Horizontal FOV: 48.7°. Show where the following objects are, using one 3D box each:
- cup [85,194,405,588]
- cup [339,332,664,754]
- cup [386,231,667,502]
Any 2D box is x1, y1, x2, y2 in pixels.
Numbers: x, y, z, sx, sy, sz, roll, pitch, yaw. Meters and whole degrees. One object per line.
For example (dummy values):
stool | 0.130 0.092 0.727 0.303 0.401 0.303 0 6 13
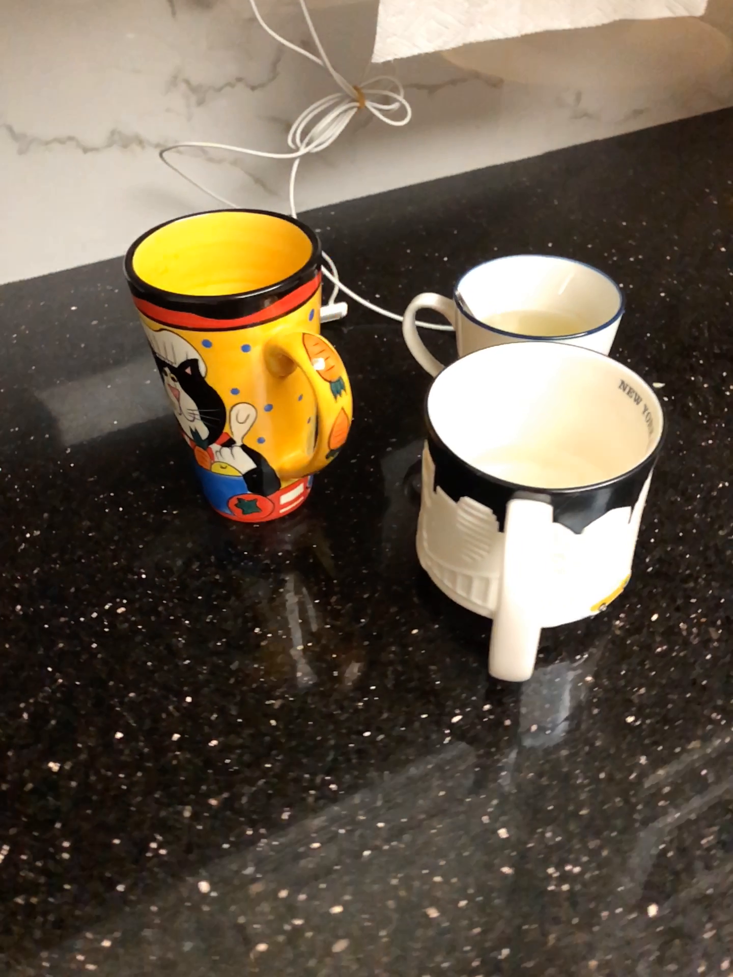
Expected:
cup | -0.055 -0.051 0.400 0.090 0.129 0.120 -29 50 -26
cup | 0.065 0.016 0.363 0.110 0.089 0.151 10 44 13
cup | 0.083 -0.071 0.446 0.120 0.089 0.080 23 48 24
